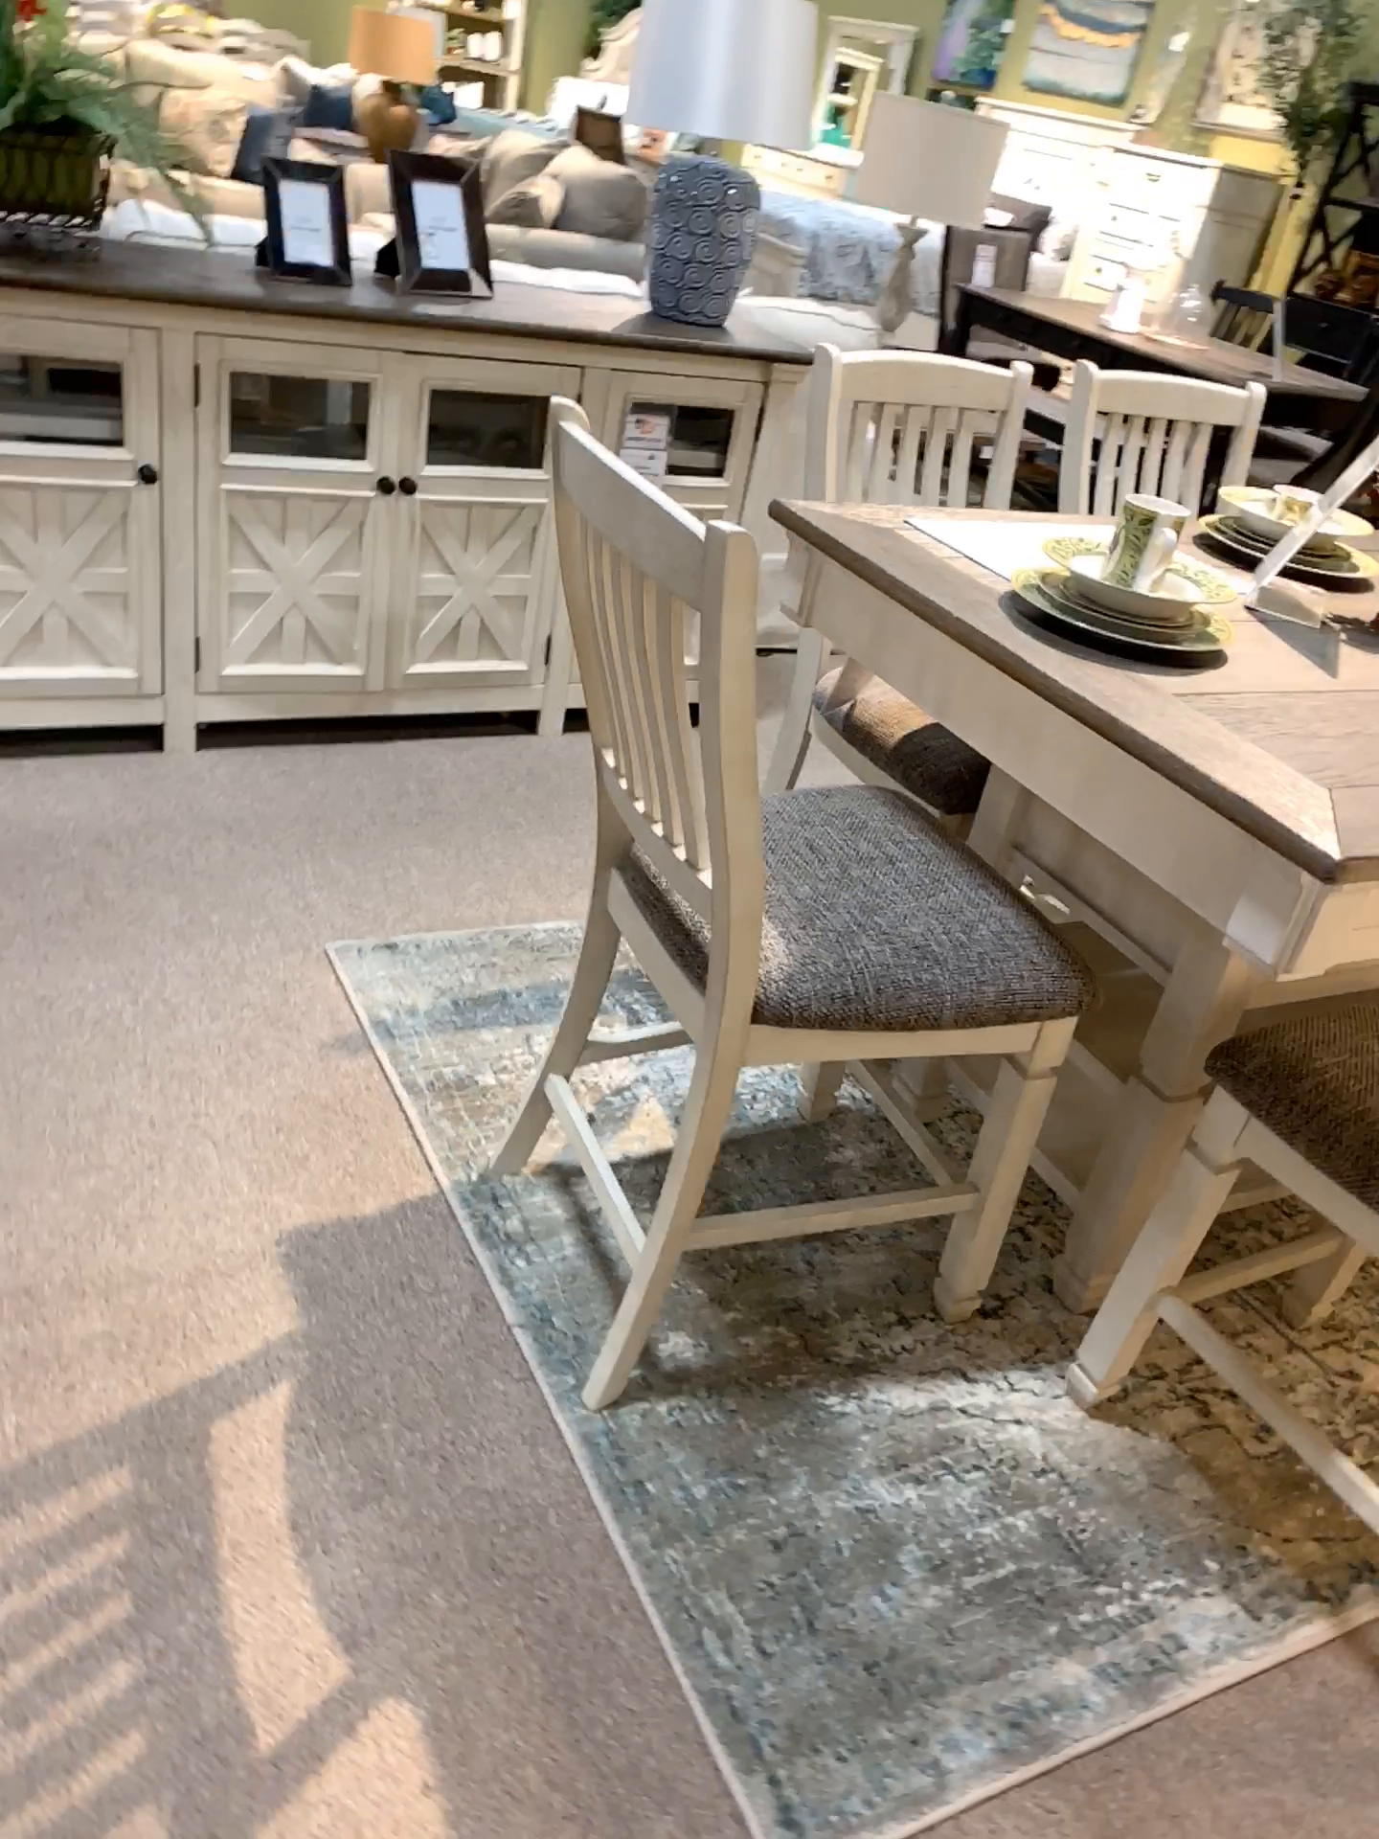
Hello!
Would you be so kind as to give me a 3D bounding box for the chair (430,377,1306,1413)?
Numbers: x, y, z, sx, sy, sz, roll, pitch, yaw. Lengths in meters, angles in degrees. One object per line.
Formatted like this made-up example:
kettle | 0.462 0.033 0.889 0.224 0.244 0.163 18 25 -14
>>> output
chair | 0.105 -0.027 1.541 0.590 0.925 0.492 -4 34 -25
